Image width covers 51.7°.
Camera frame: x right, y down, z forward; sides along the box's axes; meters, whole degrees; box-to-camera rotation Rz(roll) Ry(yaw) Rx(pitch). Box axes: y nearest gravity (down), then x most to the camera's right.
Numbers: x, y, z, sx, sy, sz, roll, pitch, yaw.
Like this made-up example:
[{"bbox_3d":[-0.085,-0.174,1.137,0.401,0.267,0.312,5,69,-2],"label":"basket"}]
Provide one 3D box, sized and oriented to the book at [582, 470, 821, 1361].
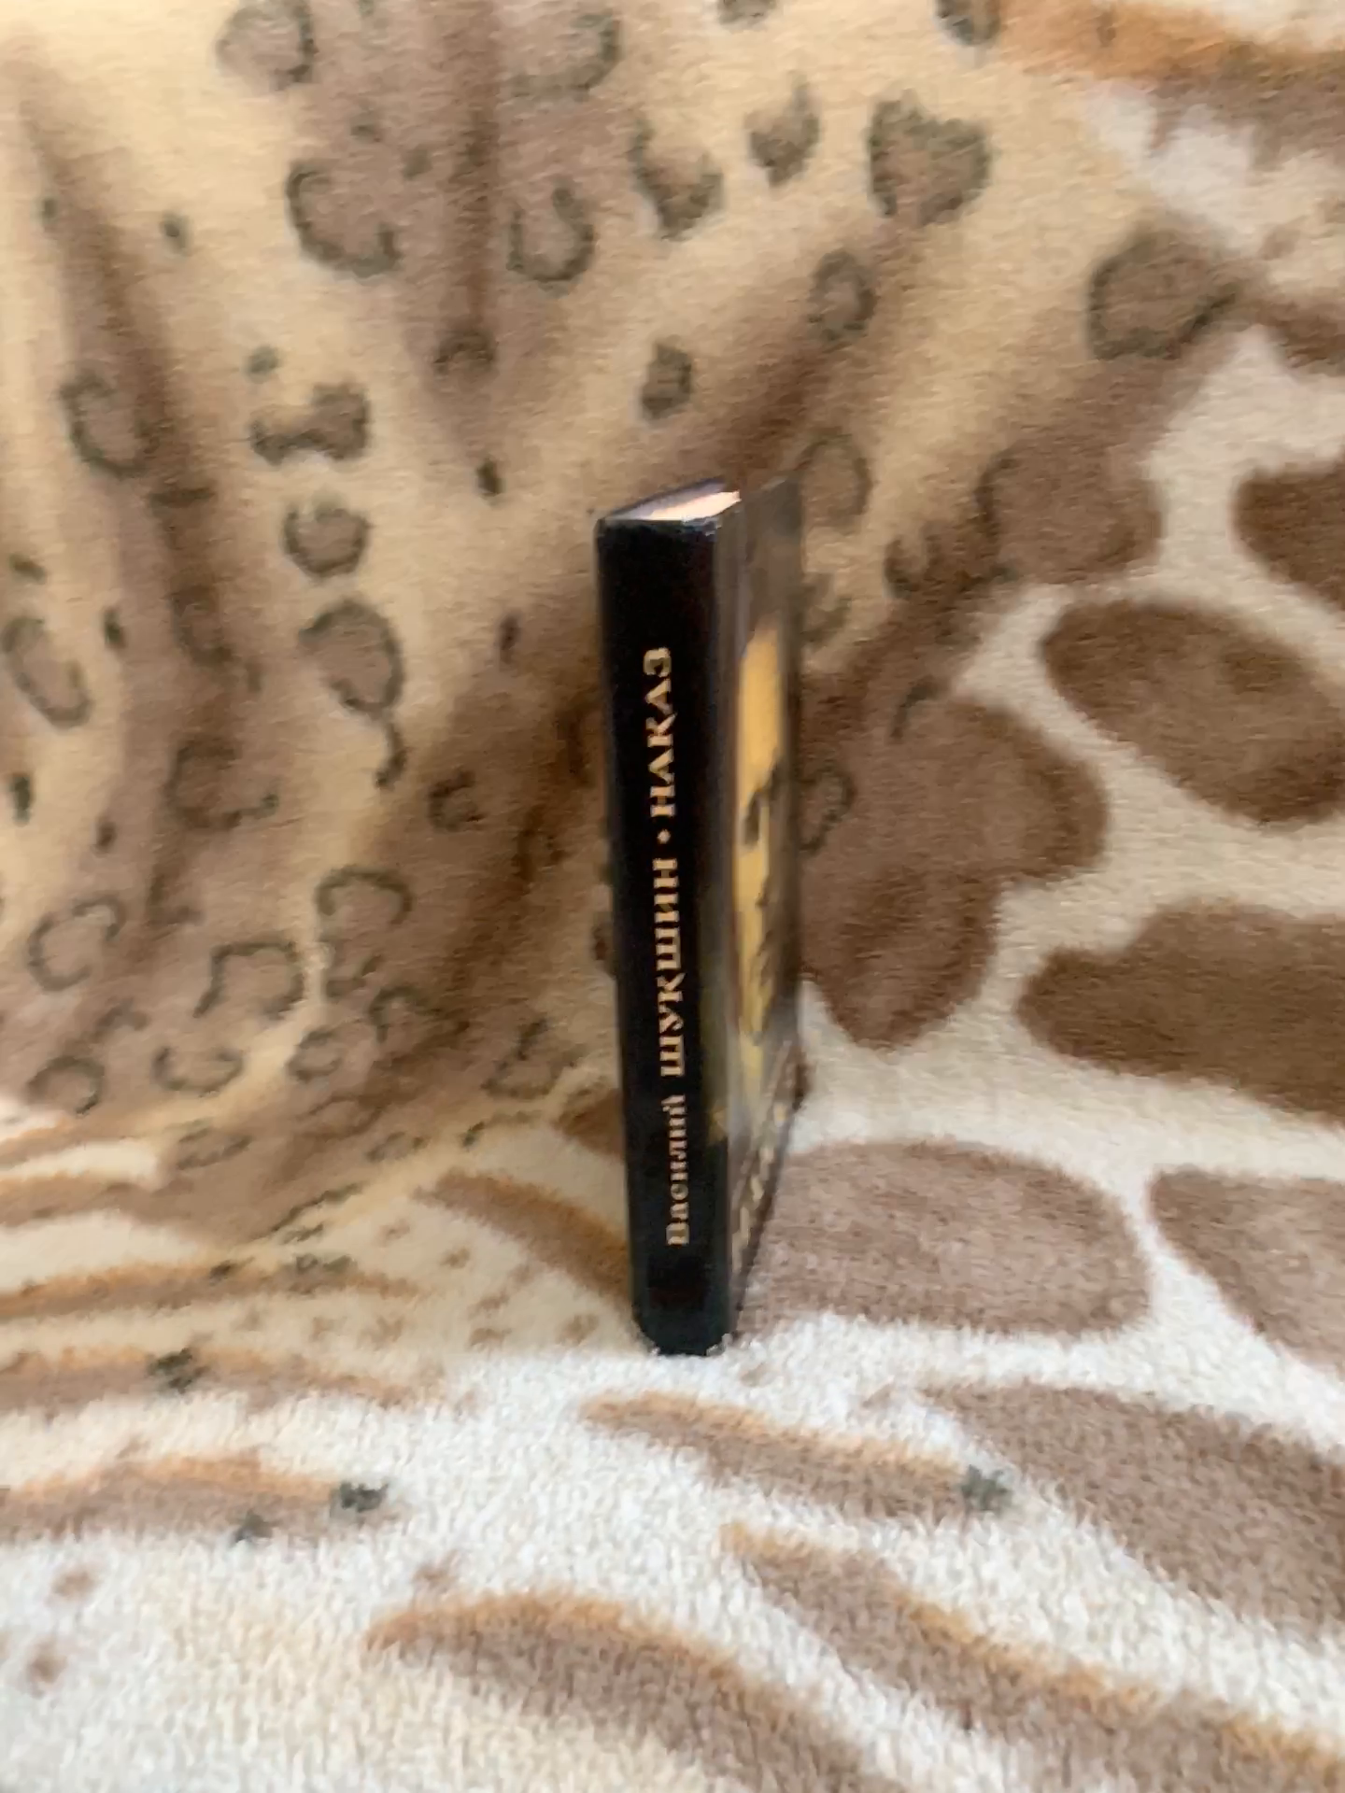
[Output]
[{"bbox_3d":[0.014,-0.004,0.368,0.030,0.199,0.131,3,22,13],"label":"book"}]
